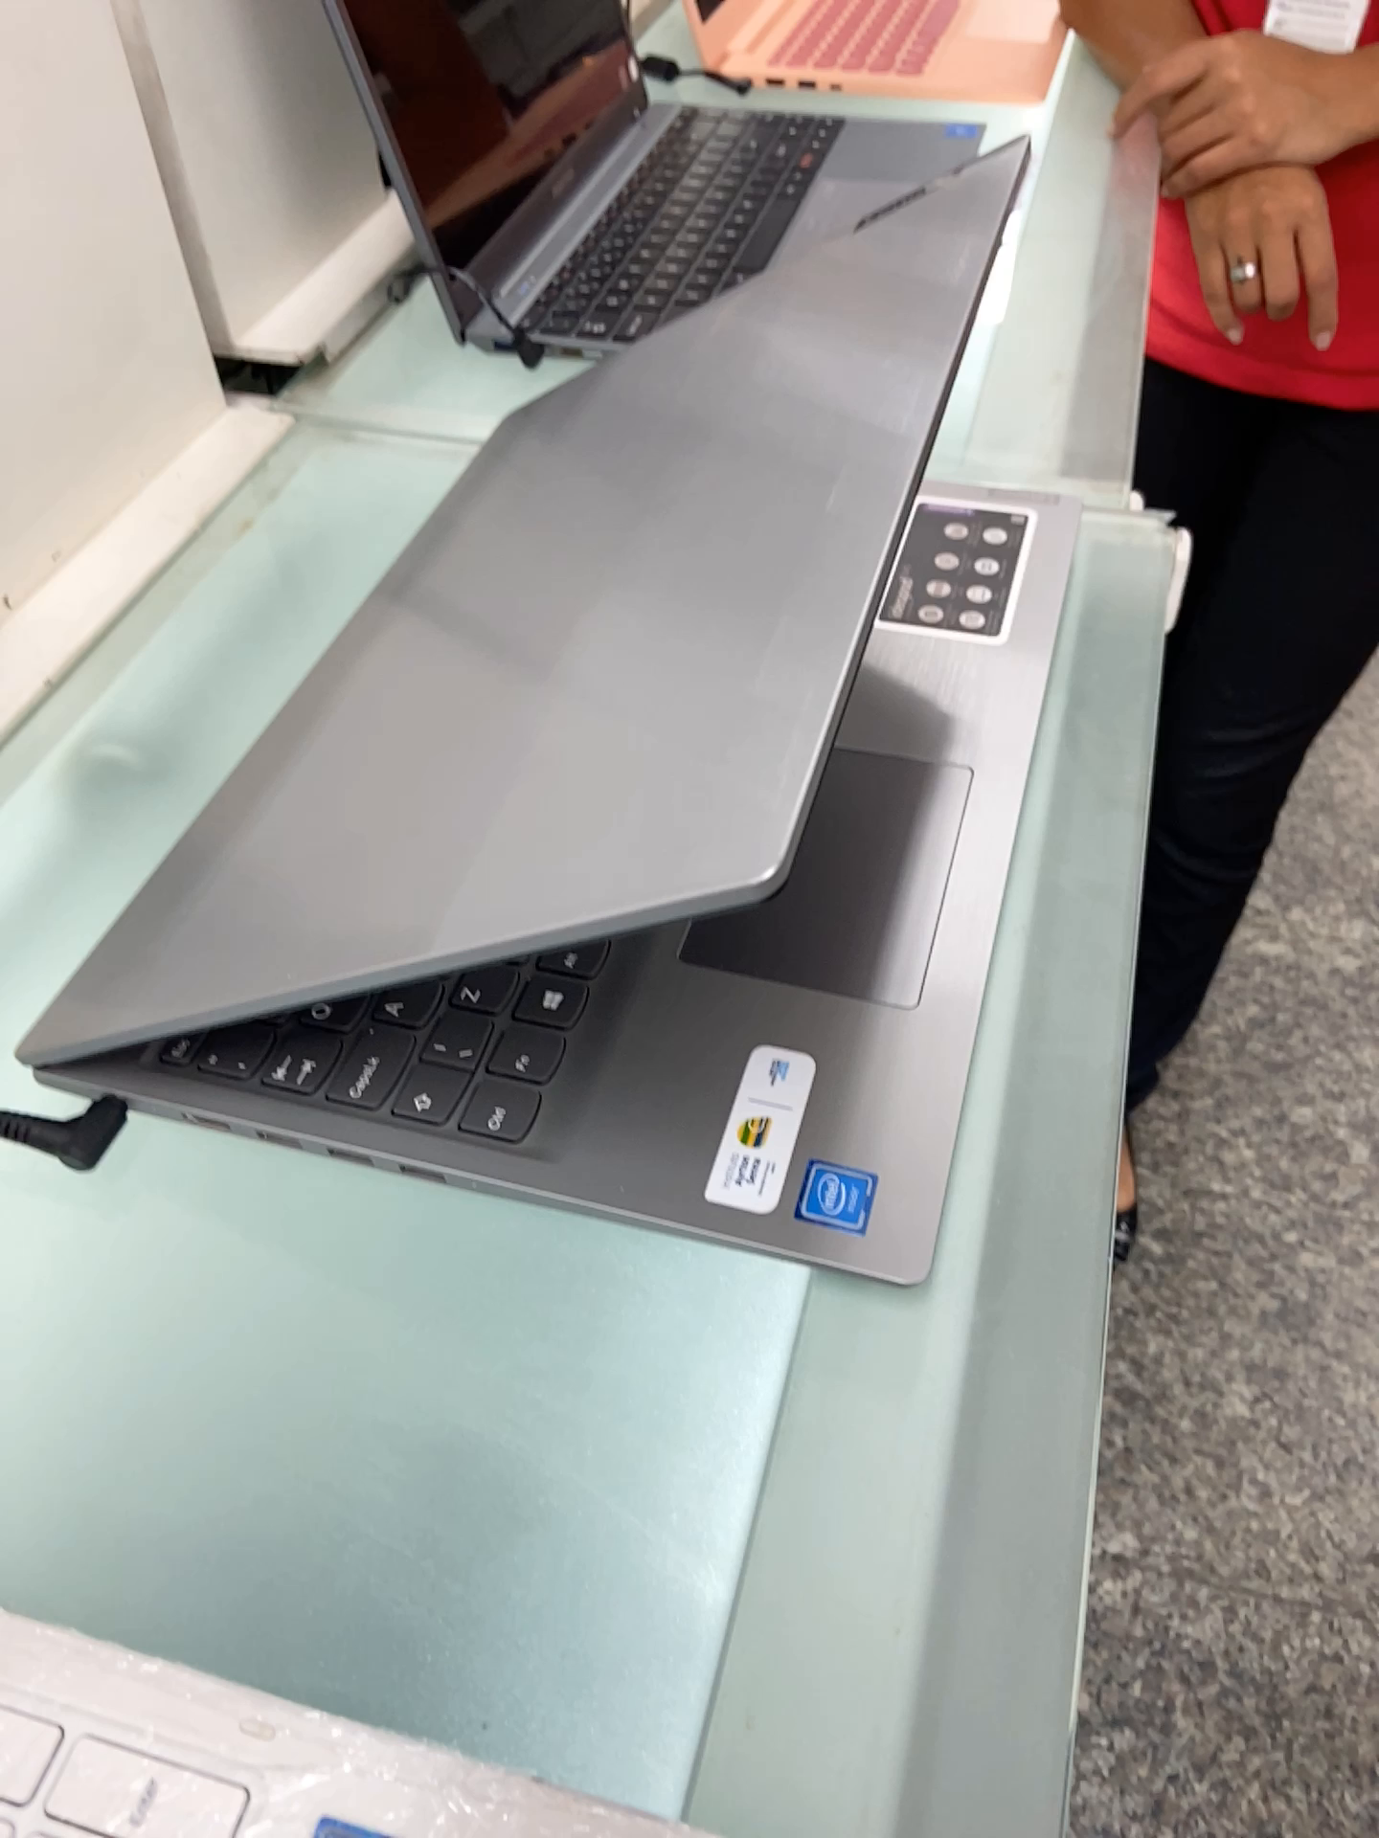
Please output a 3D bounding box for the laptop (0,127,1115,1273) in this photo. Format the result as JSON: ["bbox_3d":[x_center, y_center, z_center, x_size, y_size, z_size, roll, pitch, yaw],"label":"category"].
[{"bbox_3d":[-0.021,-0.109,0.441,0.249,0.127,0.365,10,48,13],"label":"laptop"}]

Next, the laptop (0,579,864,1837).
[{"bbox_3d":[-0.223,0.206,0.098,0.383,0.202,0.412,12,48,14],"label":"laptop"}]
